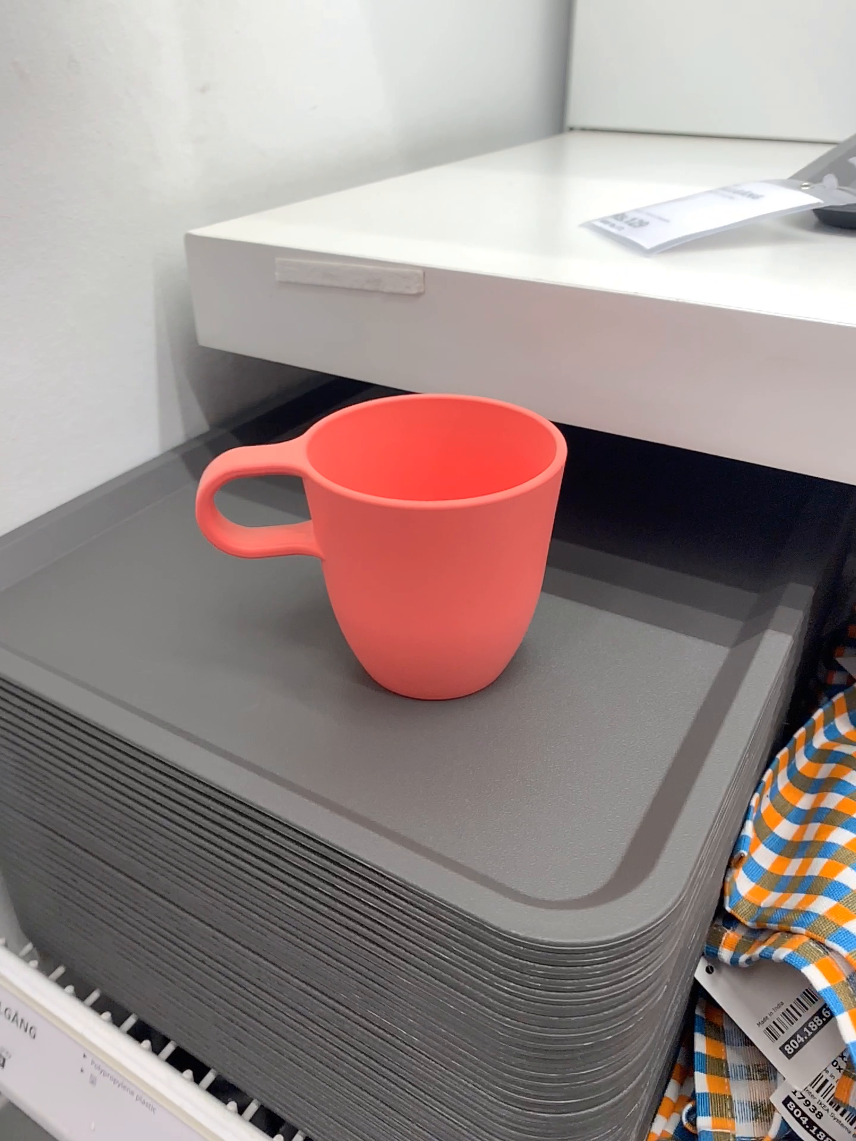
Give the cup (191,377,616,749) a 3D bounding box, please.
[{"bbox_3d":[-0.011,-0.006,0.276,0.110,0.080,0.070,-6,32,-11],"label":"cup"}]
